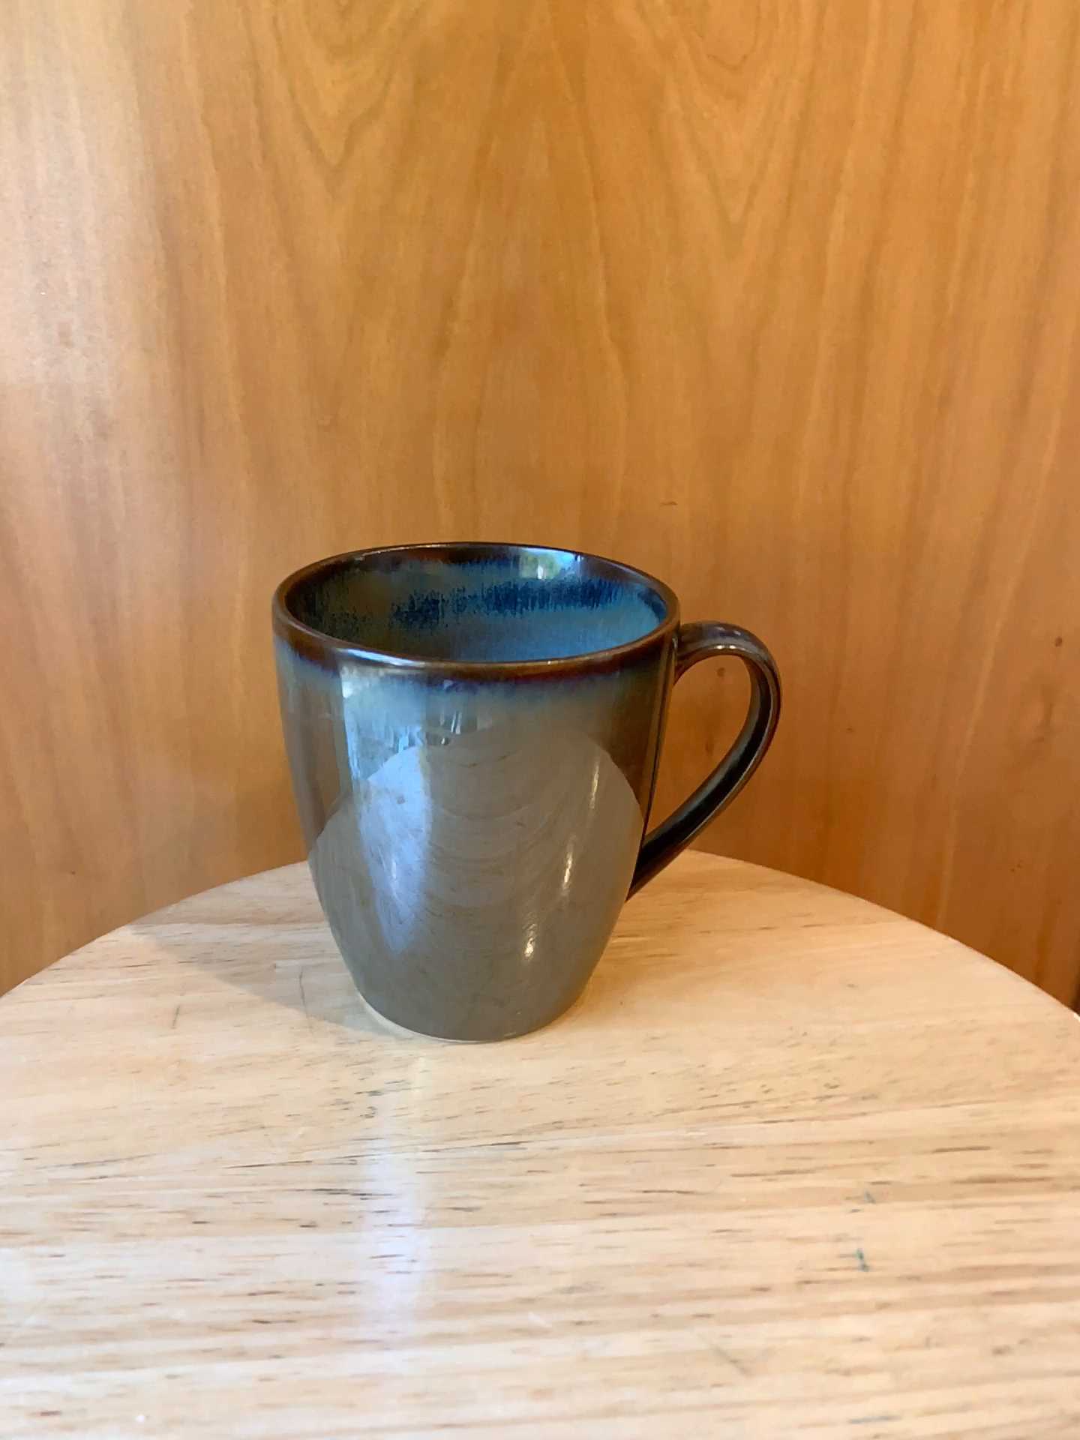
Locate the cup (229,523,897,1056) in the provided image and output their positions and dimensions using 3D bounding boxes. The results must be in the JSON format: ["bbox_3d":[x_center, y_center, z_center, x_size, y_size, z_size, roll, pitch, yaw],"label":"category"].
[{"bbox_3d":[0.000,0.009,0.253,0.120,0.090,0.080,-1,23,-7],"label":"cup"}]
